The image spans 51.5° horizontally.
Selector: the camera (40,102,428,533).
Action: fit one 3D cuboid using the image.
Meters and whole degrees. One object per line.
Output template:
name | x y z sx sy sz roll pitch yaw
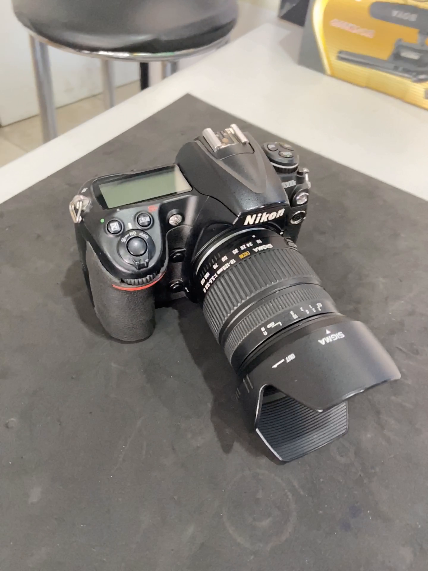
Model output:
camera | 0.015 0.000 0.258 0.170 0.109 0.181 -16 53 -18
